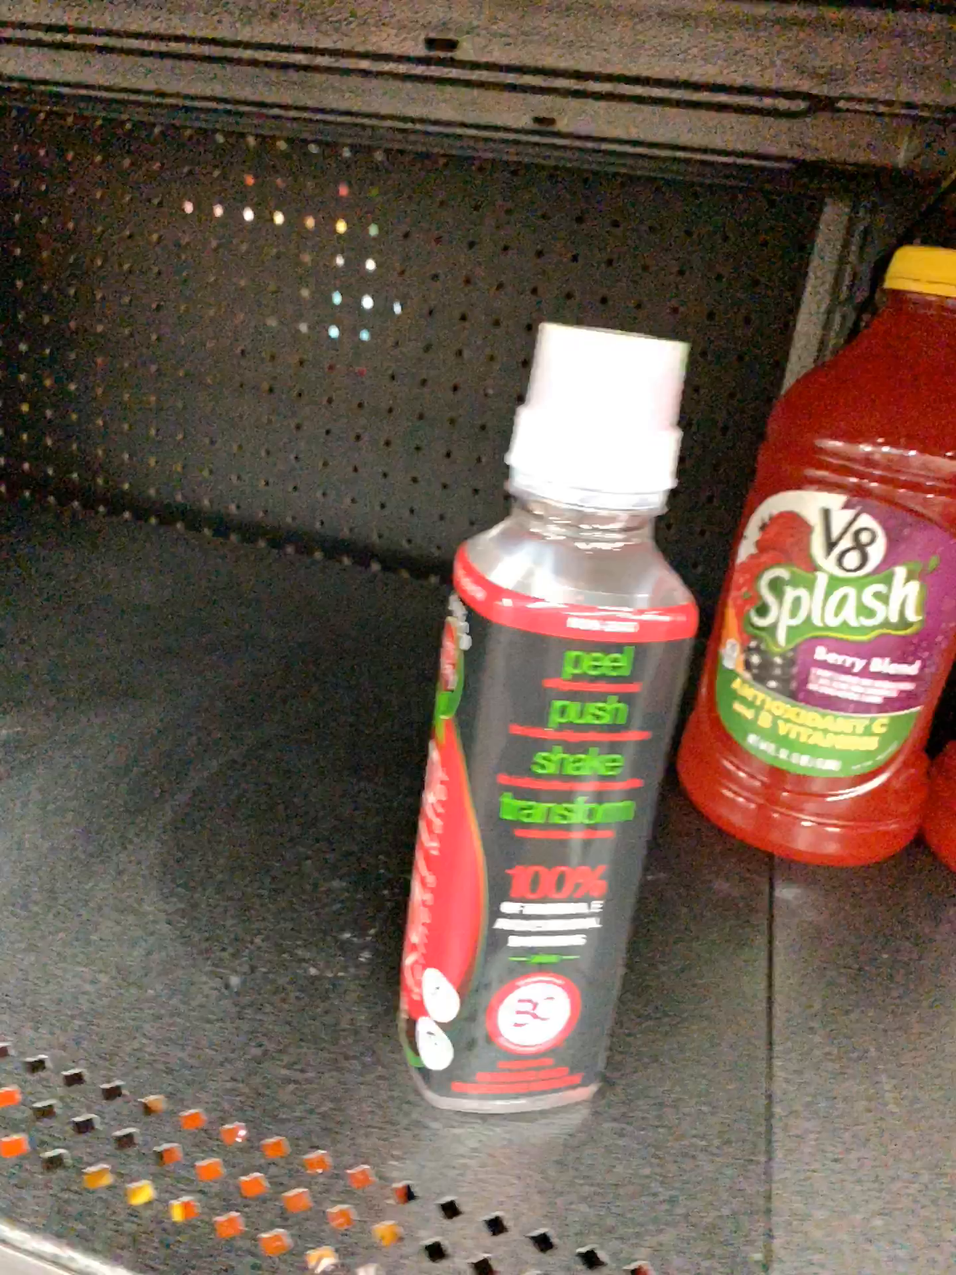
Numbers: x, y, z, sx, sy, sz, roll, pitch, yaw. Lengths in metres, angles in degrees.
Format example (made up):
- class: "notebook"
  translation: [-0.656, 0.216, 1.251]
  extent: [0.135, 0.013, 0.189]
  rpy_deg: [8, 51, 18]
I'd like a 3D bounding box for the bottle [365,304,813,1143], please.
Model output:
- class: "bottle"
  translation: [0.016, 0.026, 0.268]
  extent: [0.070, 0.209, 0.069]
  rpy_deg: [7, 21, -2]
